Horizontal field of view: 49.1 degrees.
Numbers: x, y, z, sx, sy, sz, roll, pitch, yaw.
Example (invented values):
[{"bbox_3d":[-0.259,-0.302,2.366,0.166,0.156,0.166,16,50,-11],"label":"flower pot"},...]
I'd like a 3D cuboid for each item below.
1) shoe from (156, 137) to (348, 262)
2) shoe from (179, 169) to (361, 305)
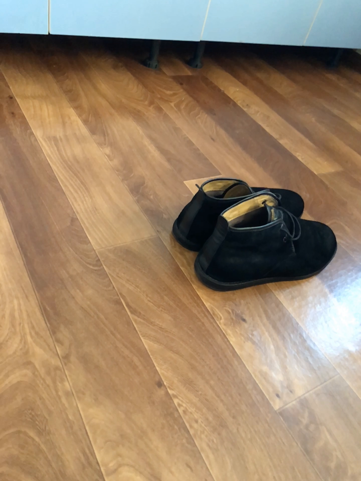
[{"bbox_3d":[0.122,-0.080,0.675,0.291,0.129,0.110,-14,51,-30],"label":"shoe"},{"bbox_3d":[0.163,-0.015,0.607,0.291,0.129,0.110,-9,49,-27],"label":"shoe"}]
